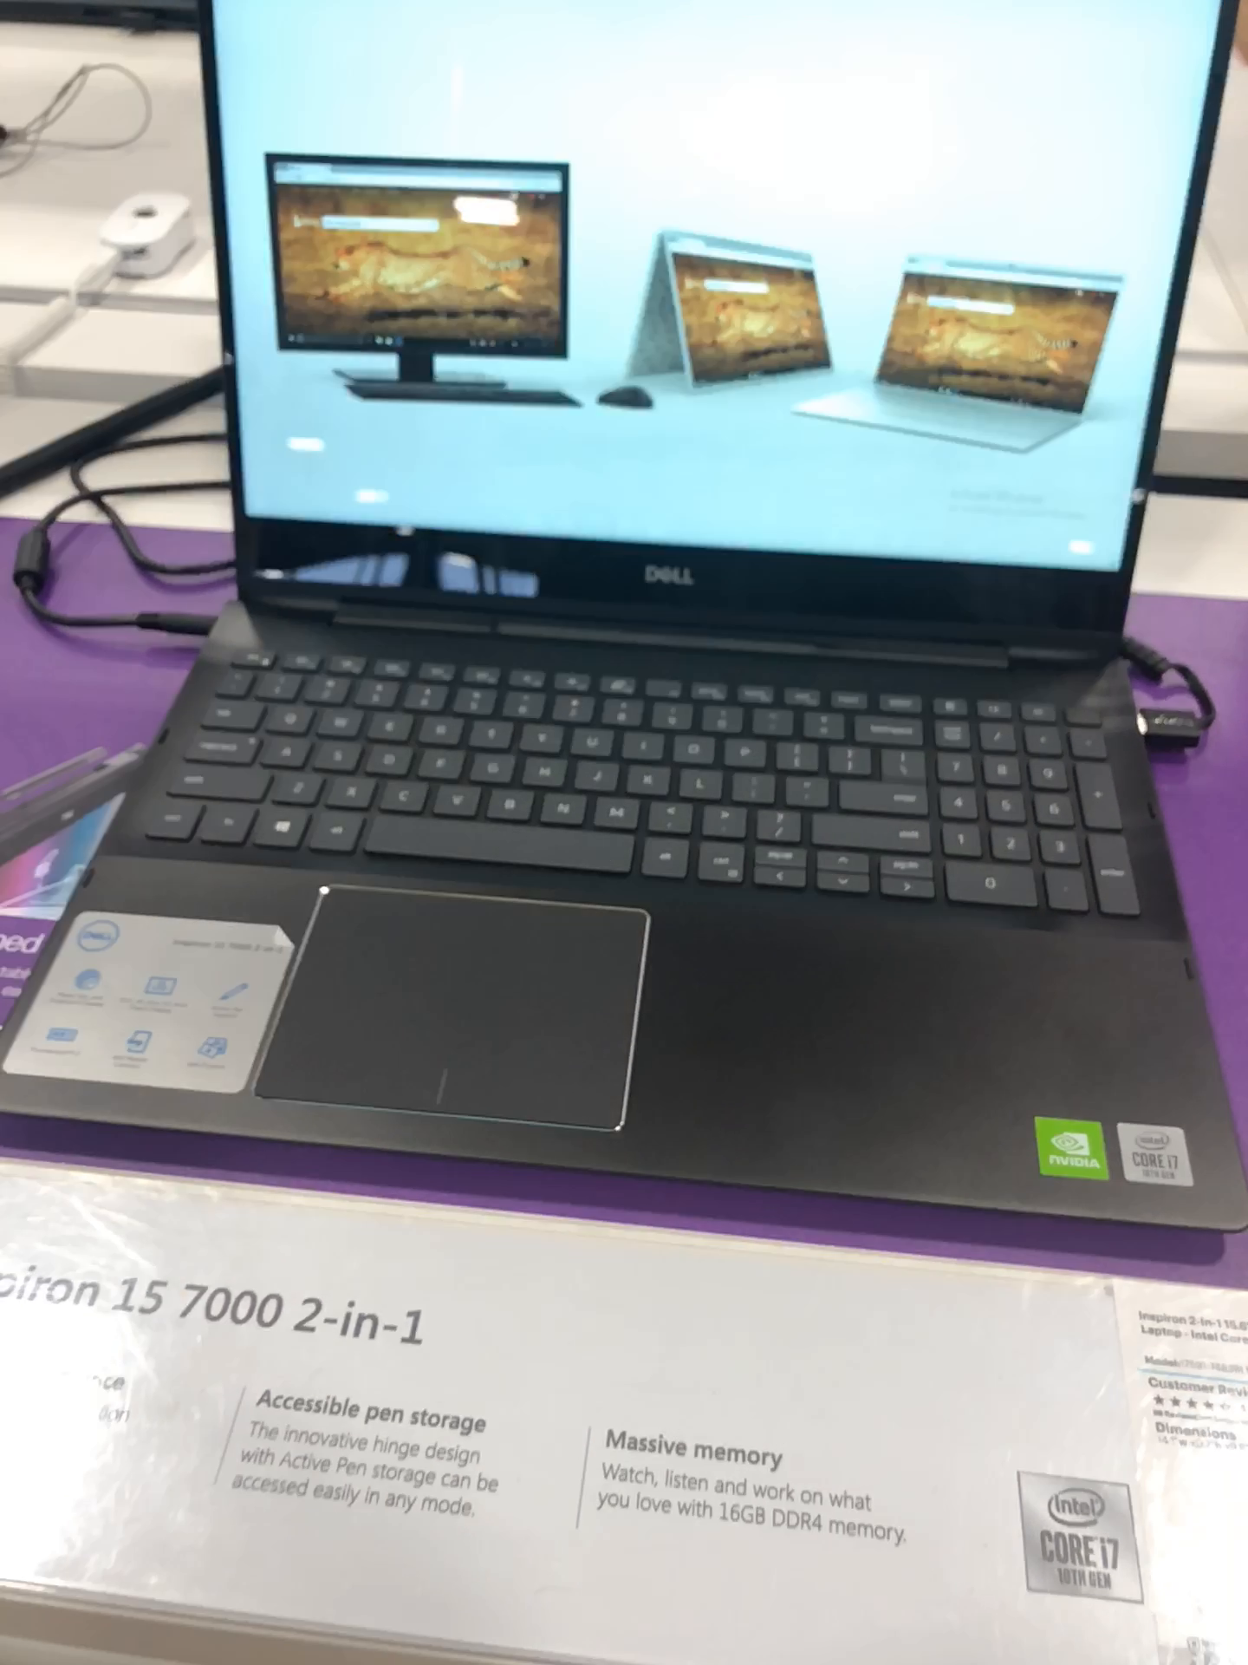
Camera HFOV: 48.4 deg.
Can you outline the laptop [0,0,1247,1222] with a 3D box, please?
[{"bbox_3d":[0.007,-0.102,0.407,0.340,0.207,0.325,4,45,4],"label":"laptop"}]
